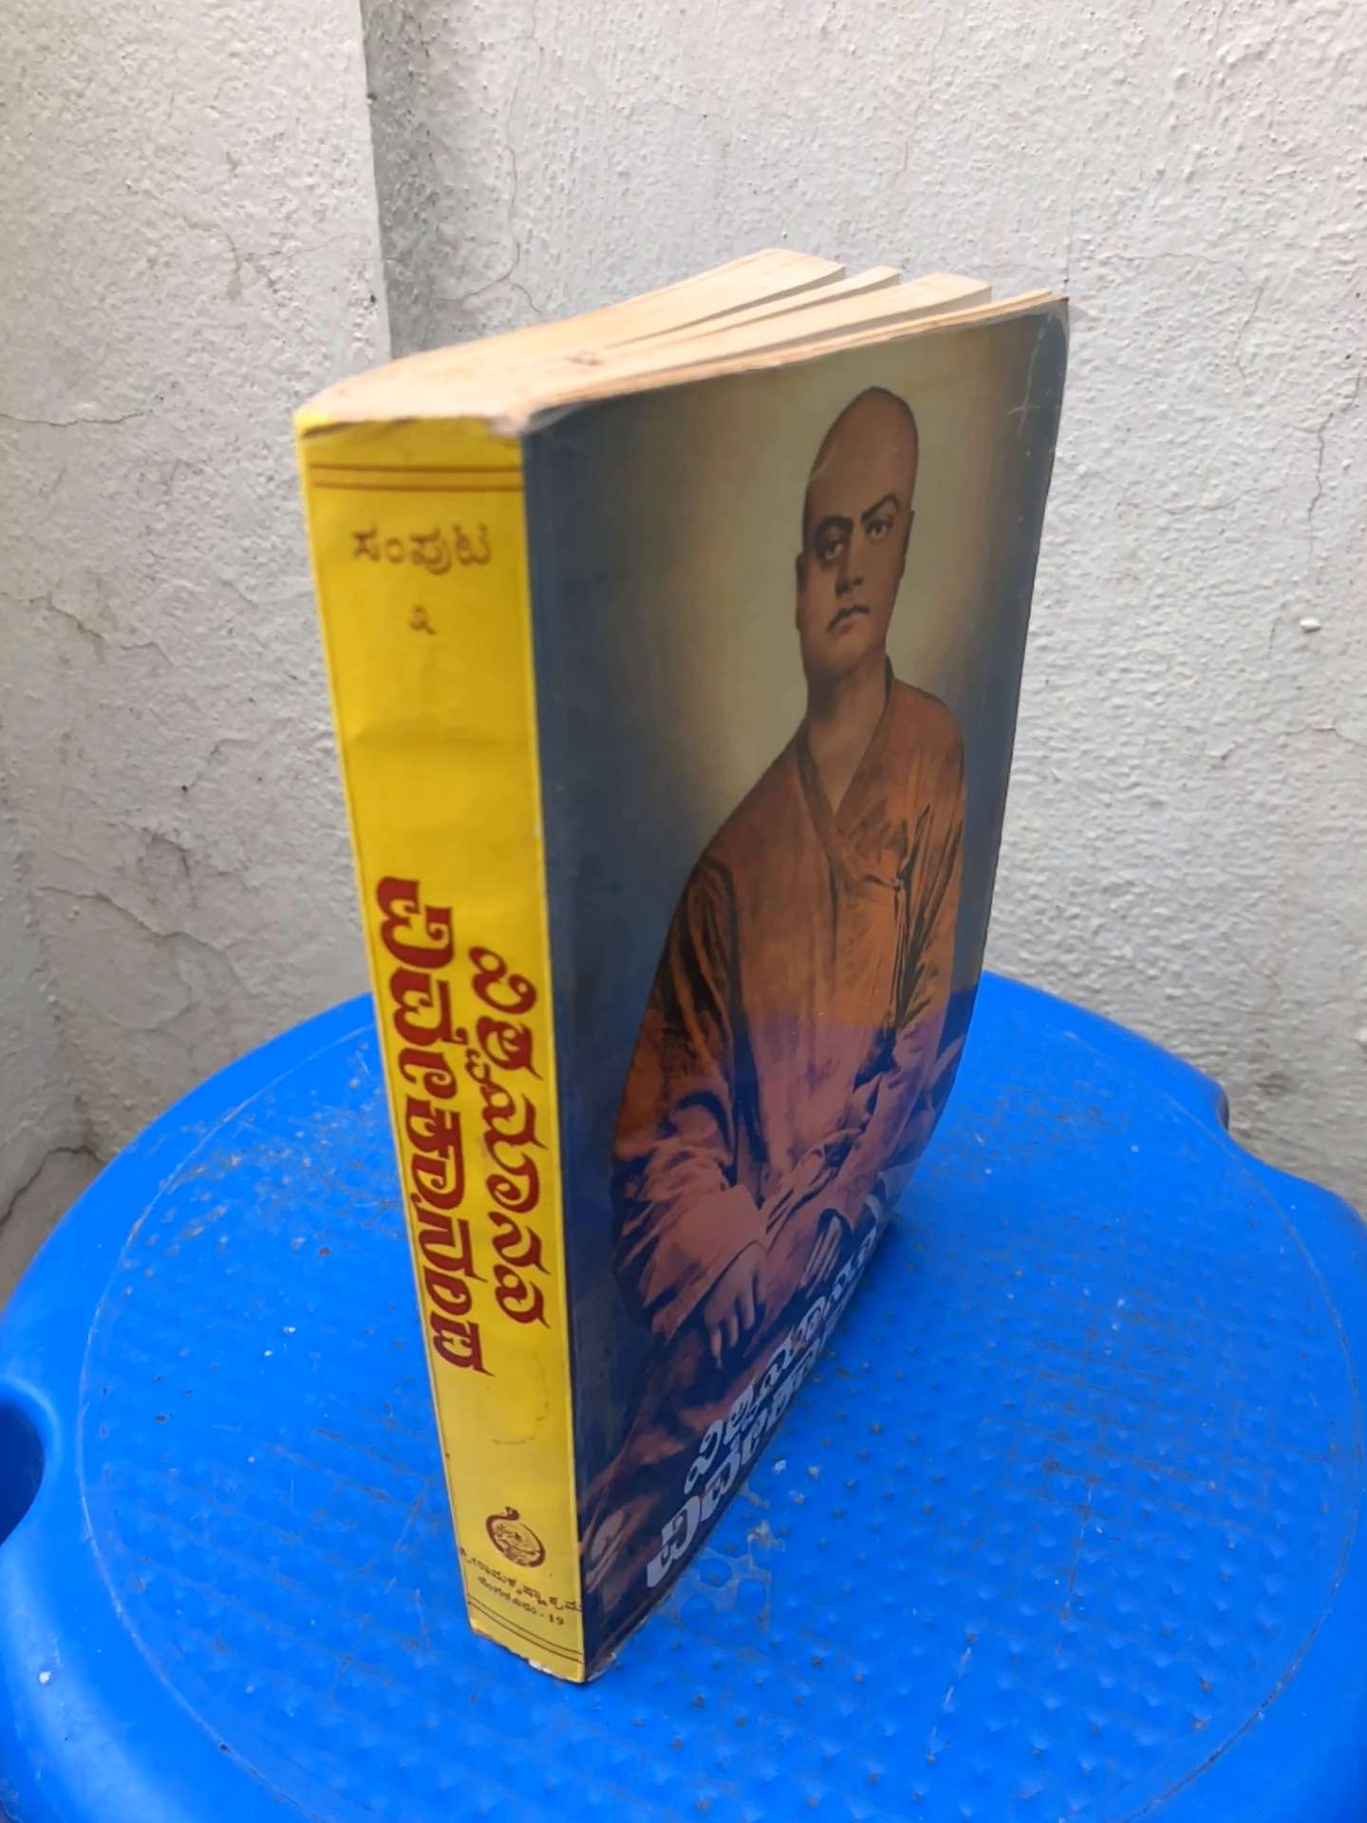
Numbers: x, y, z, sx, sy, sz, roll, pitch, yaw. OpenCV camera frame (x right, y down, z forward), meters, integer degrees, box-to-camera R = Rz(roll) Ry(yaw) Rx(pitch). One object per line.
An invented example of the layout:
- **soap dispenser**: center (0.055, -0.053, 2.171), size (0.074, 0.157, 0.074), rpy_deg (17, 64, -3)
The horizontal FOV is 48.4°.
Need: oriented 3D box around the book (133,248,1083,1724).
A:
- **book**: center (0.011, -0.005, 0.279), size (0.050, 0.199, 0.191), rpy_deg (13, 32, 28)
